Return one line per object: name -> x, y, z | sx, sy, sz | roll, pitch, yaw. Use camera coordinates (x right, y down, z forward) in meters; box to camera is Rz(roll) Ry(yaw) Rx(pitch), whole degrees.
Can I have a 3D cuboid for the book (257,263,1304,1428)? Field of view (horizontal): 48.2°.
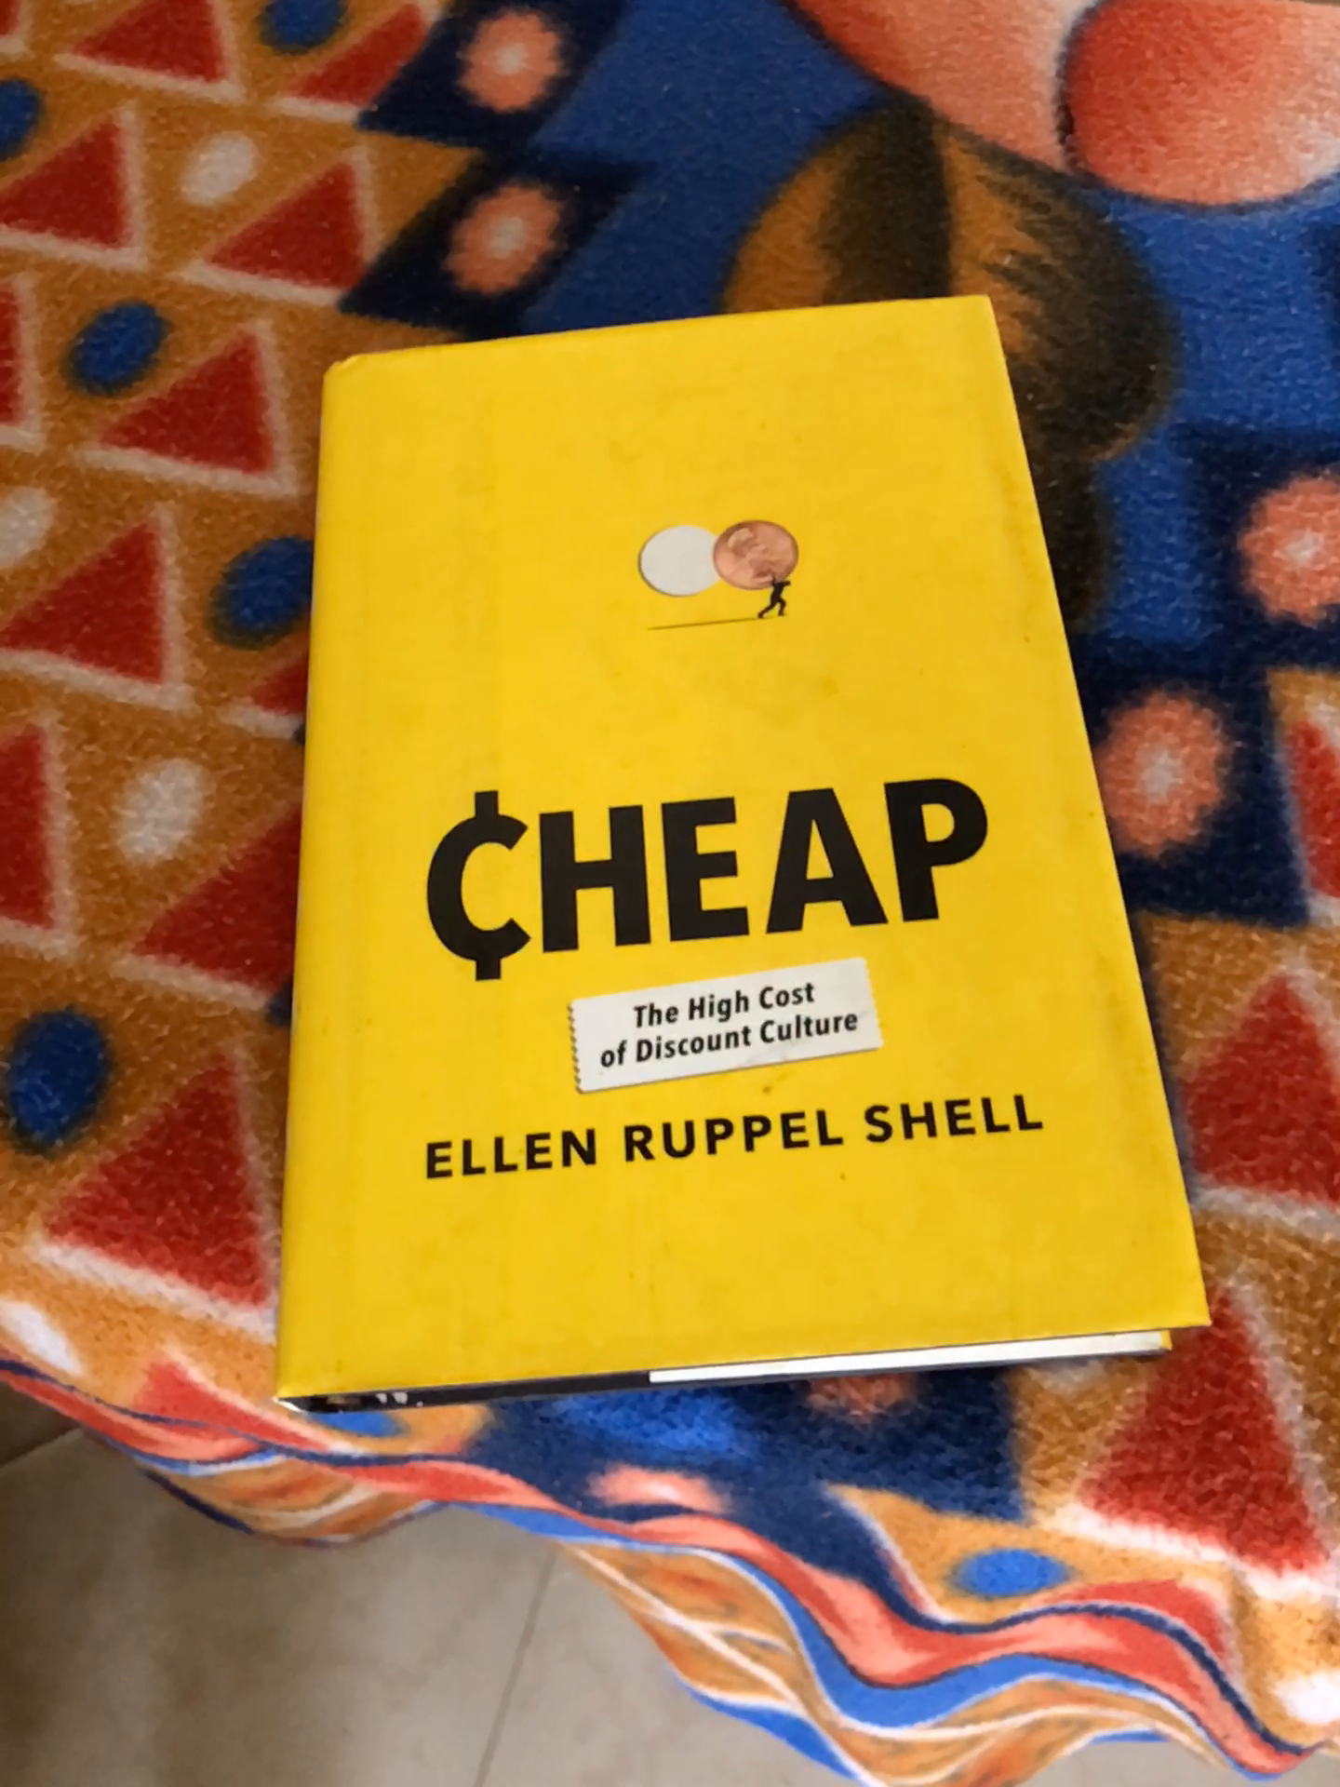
book -> 0.010, -0.025, 0.308 | 0.170, 0.030, 0.241 | -4, 64, 0
